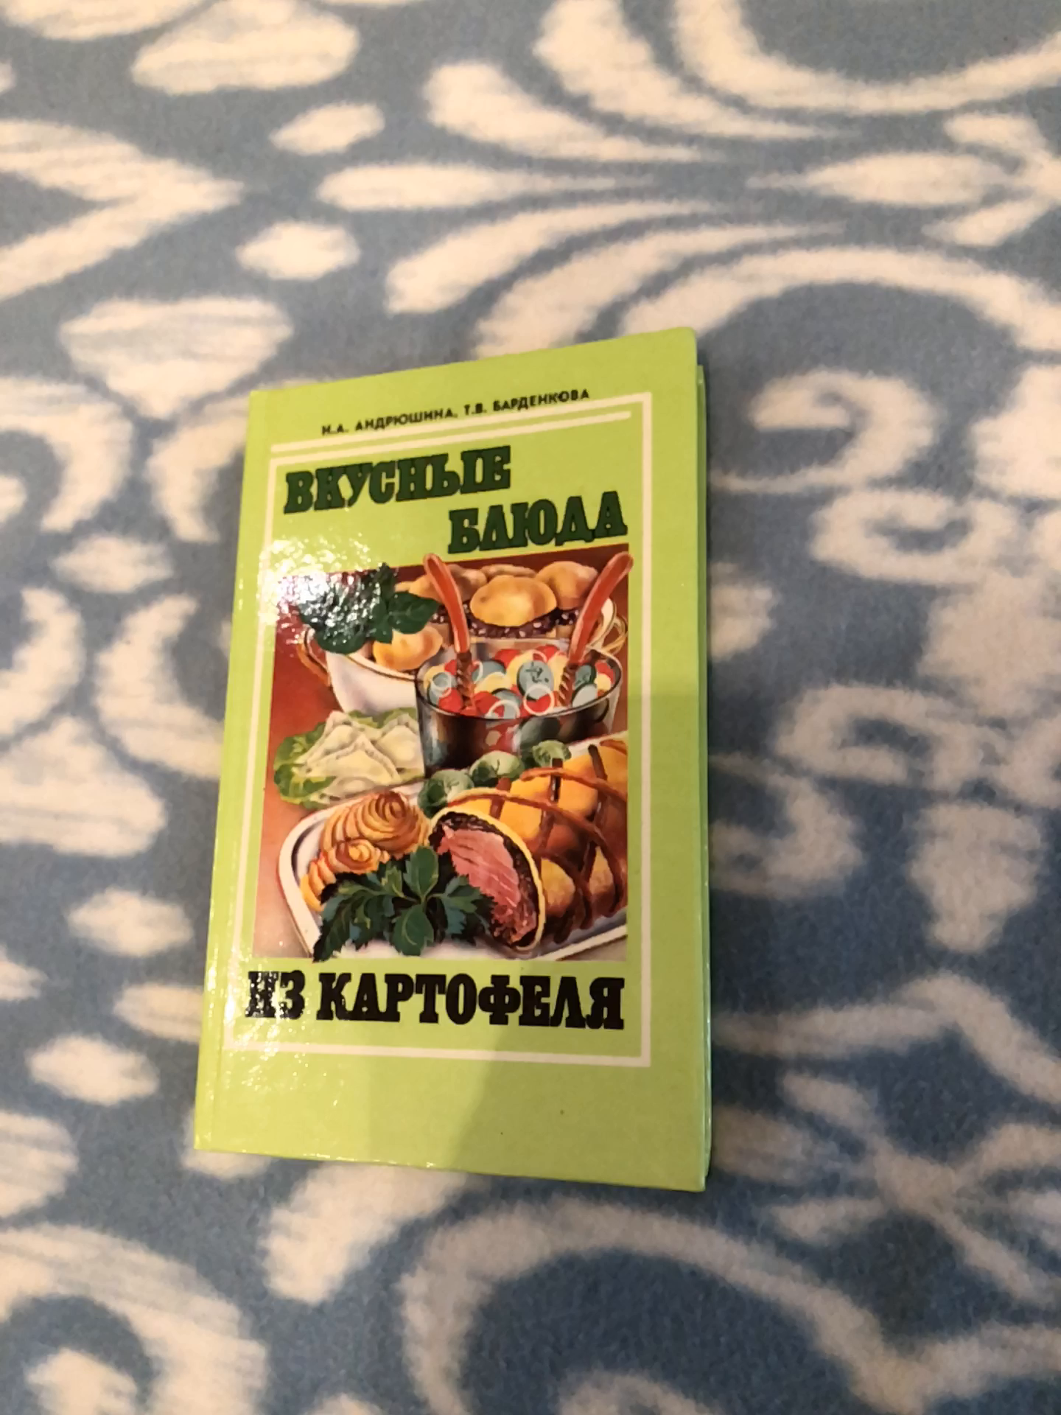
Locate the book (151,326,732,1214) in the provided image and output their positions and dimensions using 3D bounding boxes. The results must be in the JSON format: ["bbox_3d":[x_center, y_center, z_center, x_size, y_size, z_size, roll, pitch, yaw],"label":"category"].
[{"bbox_3d":[-0.020,0.011,0.297,0.135,0.025,0.201,-3,76,19],"label":"book"}]
